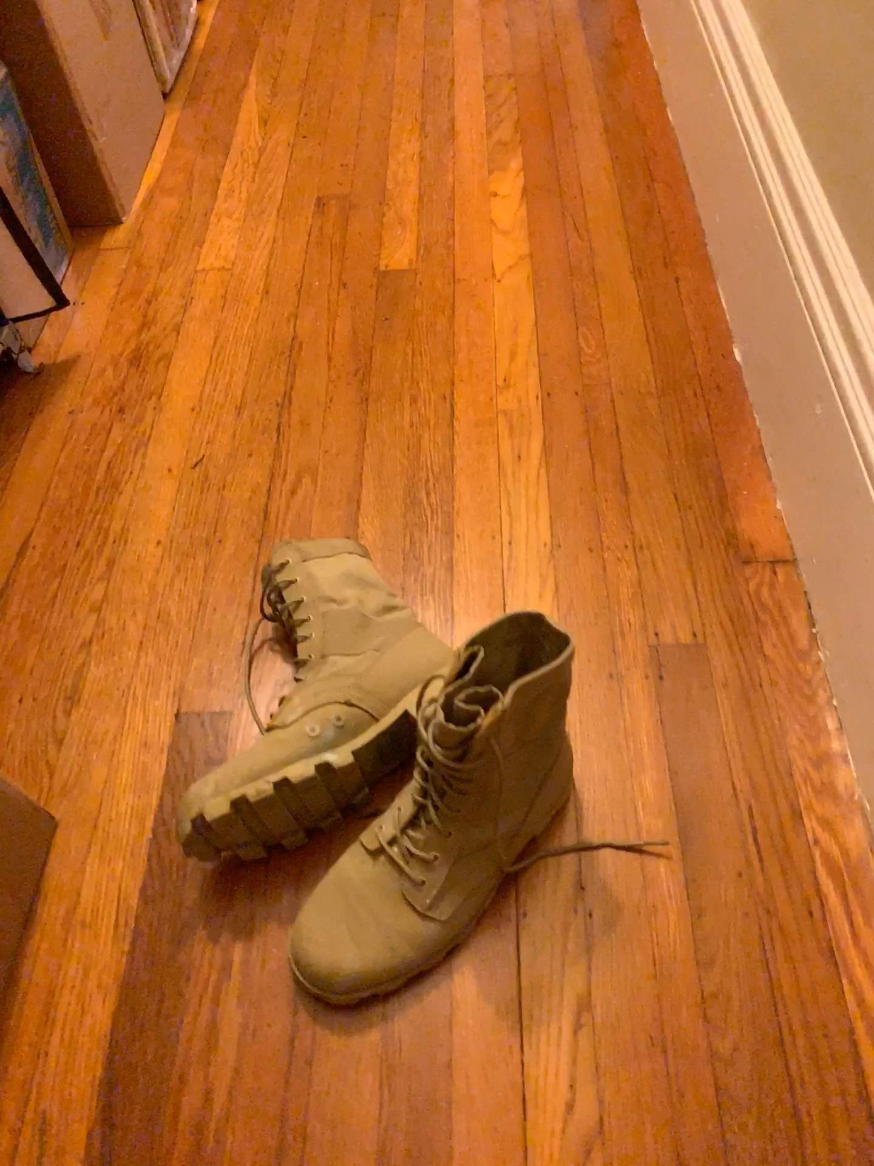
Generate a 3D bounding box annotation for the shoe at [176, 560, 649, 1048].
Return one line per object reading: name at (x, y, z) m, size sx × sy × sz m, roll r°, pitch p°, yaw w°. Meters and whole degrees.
shoe at (-0.003, 0.159, 0.641) m, size 0.290 × 0.199 × 0.120 m, roll -37°, pitch 59°, yaw -20°

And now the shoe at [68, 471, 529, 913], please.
shoe at (-0.118, 0.075, 0.783) m, size 0.290 × 0.110 × 0.261 m, roll -35°, pitch 52°, yaw -20°
